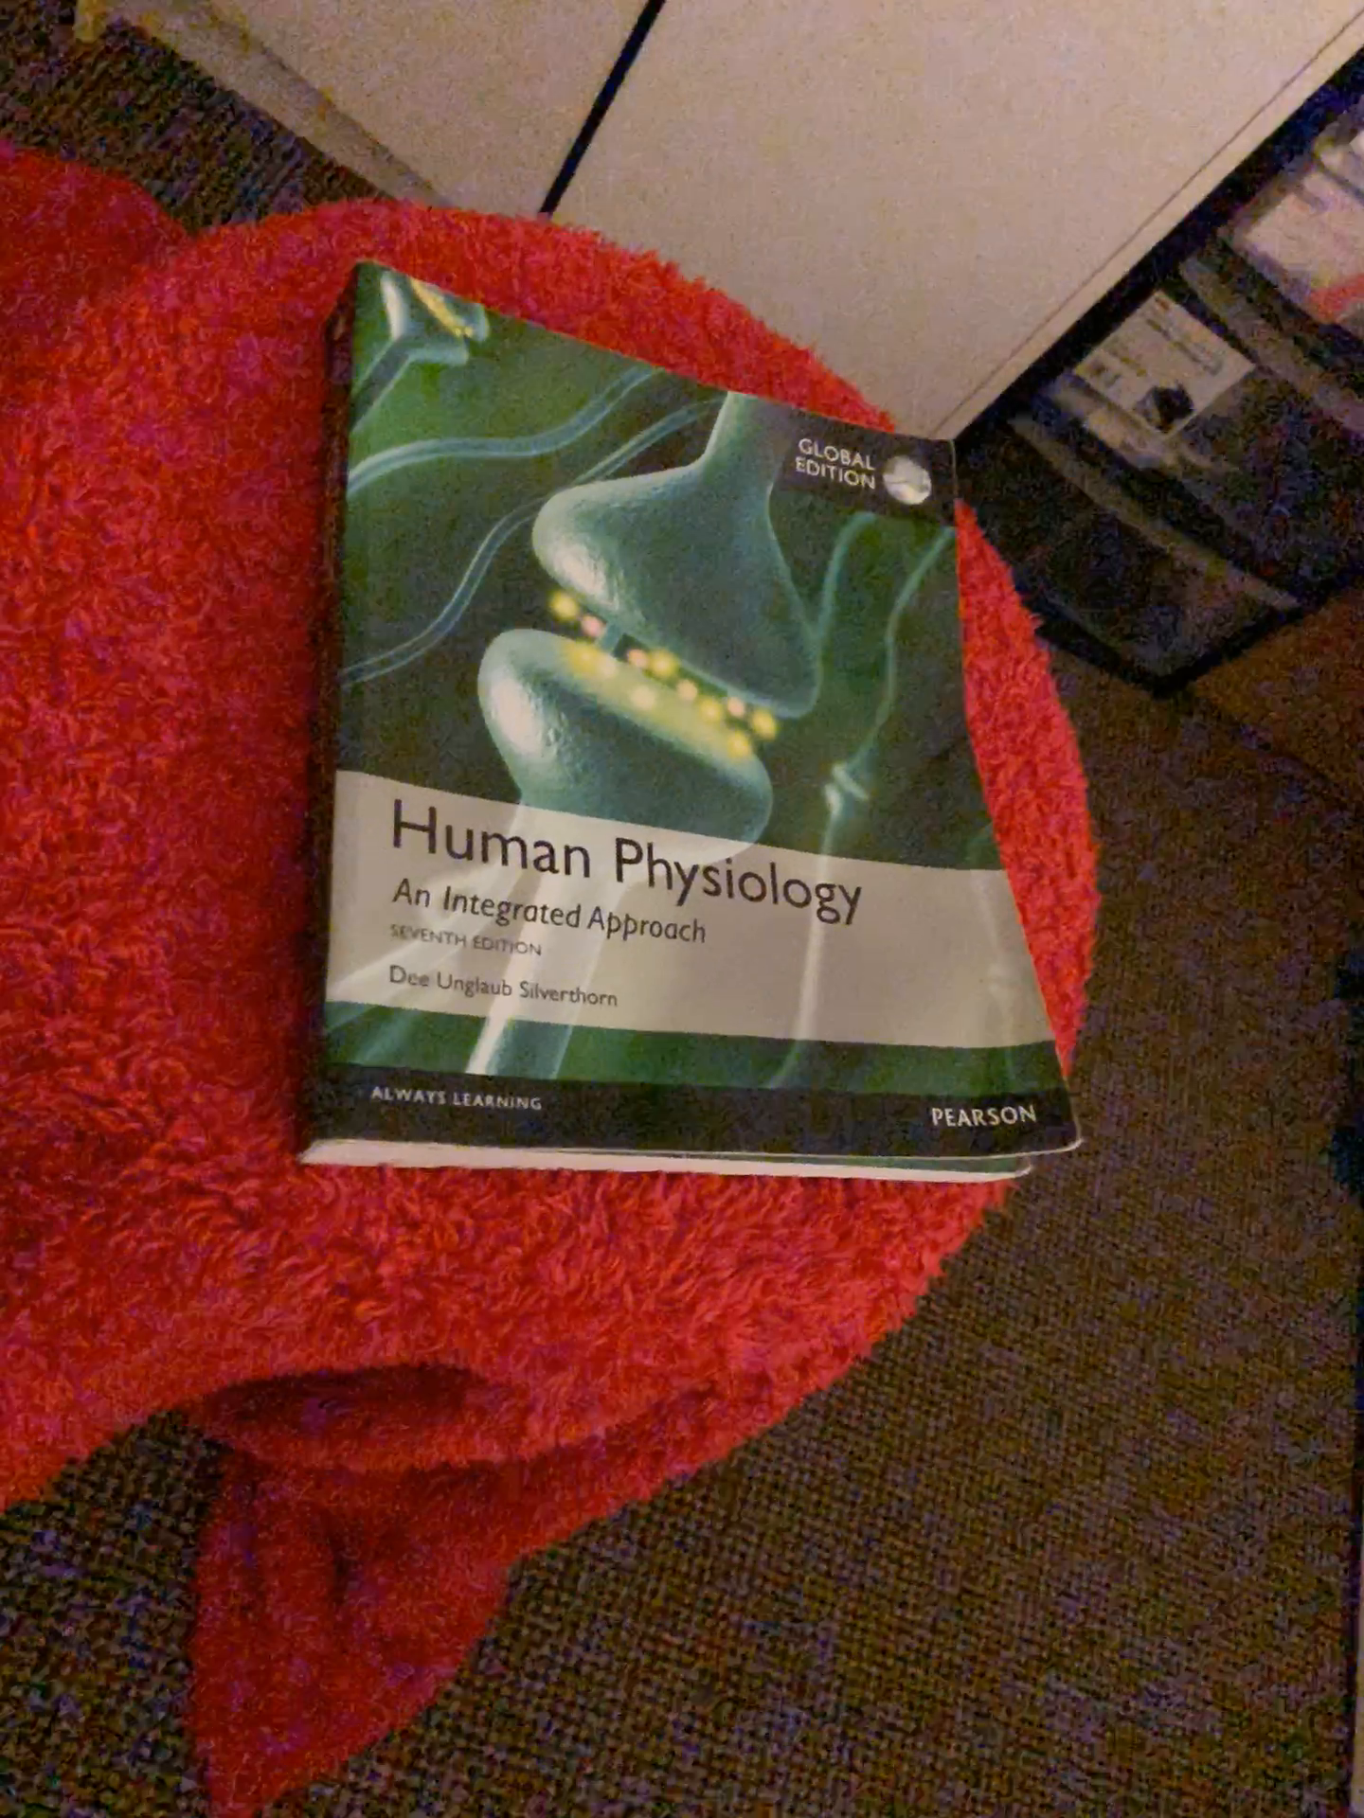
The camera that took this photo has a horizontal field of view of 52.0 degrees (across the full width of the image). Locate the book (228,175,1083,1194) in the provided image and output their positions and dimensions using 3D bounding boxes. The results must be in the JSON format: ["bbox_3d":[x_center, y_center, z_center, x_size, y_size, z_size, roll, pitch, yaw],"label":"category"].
[{"bbox_3d":[-0.008,-0.064,0.471,0.251,0.070,0.301,8,66,-27],"label":"book"}]
